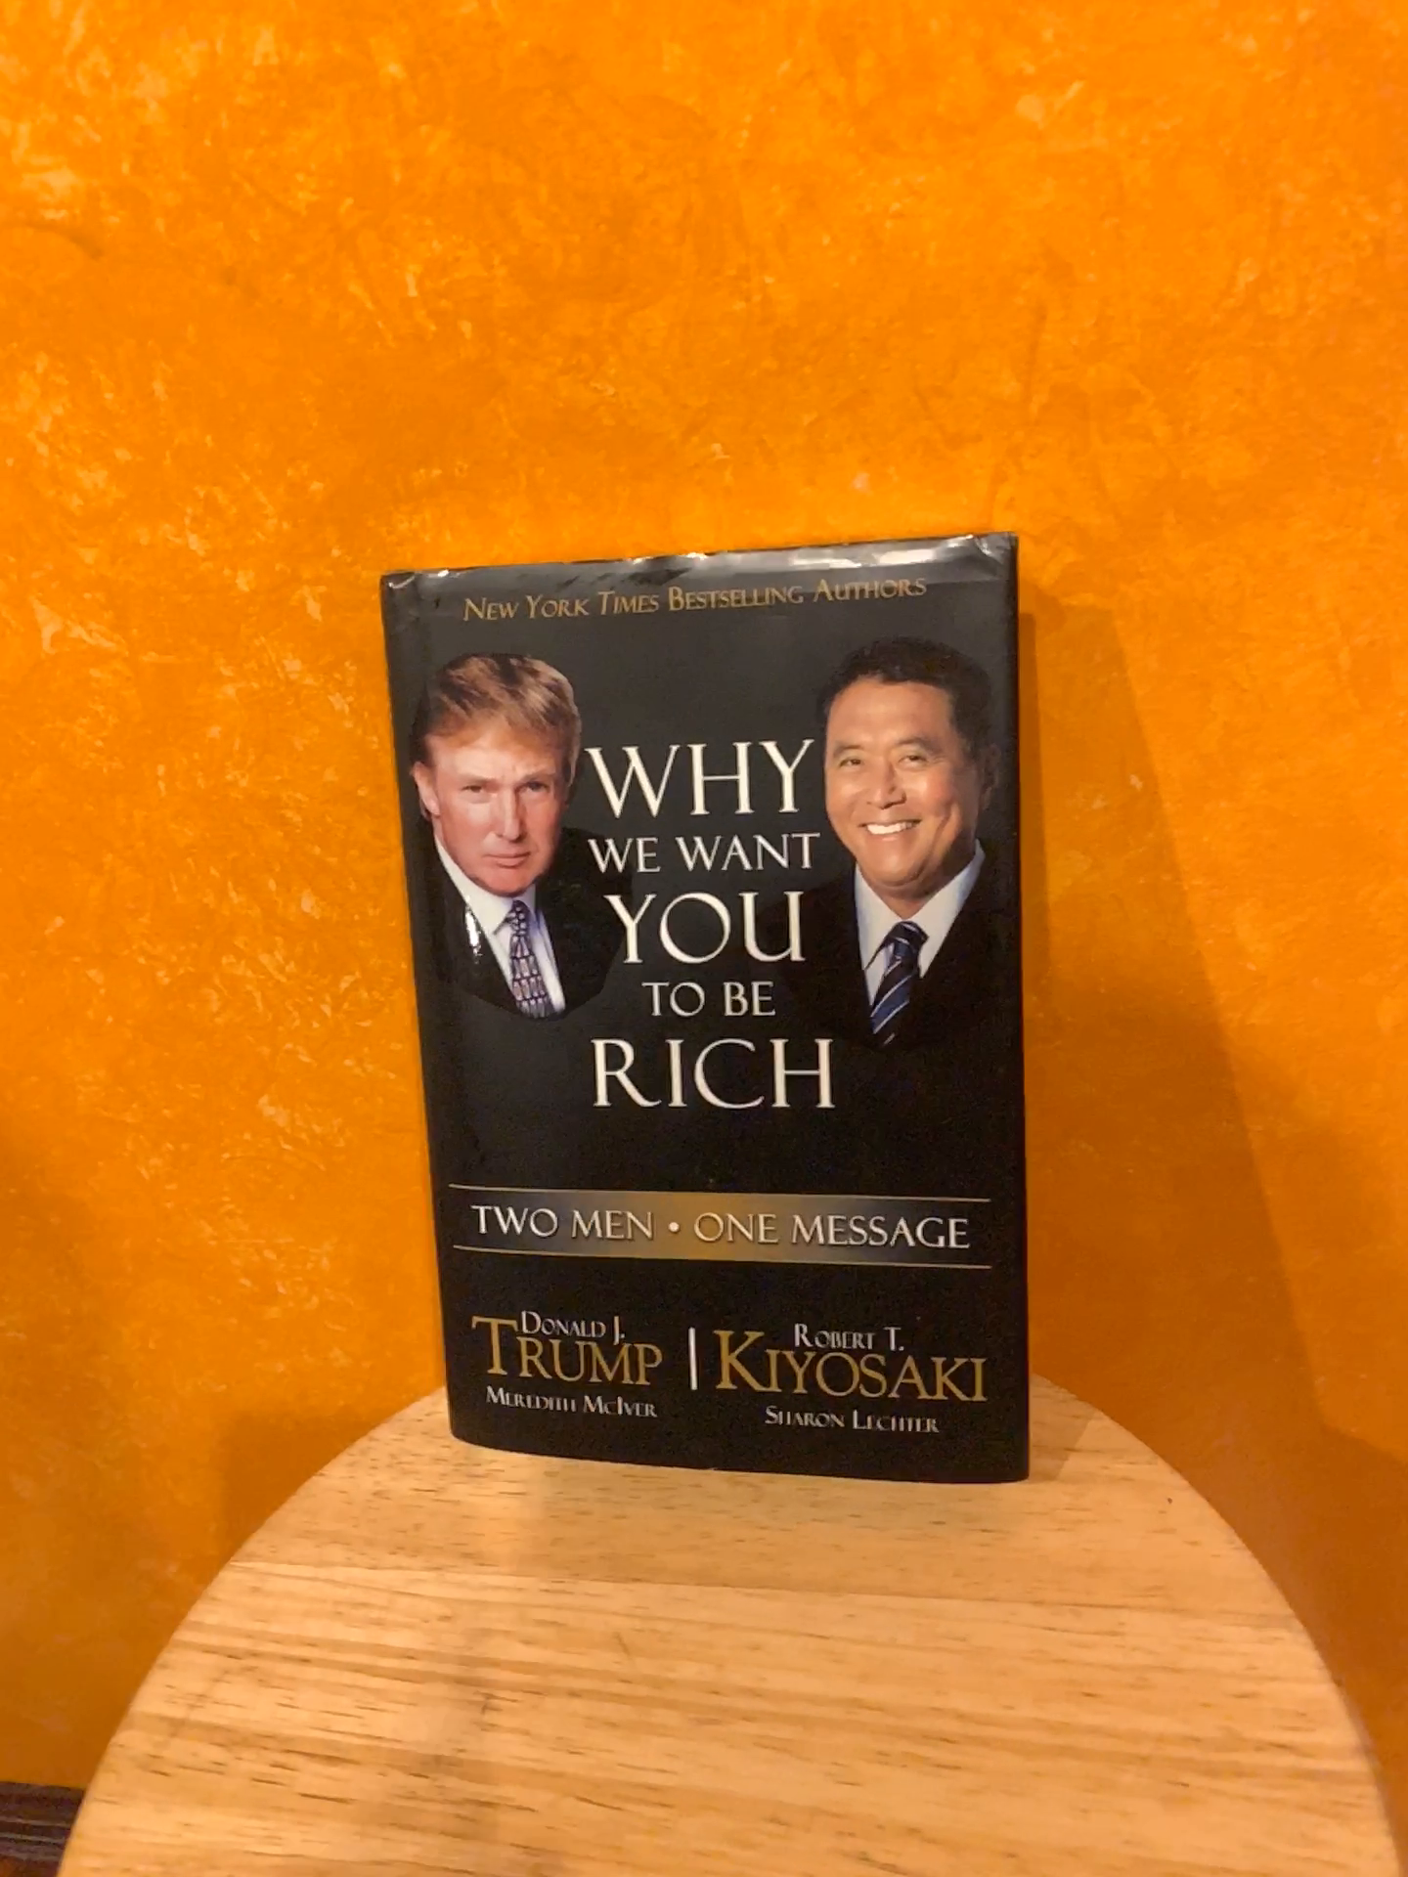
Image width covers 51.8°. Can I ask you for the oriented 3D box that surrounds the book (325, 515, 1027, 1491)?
[{"bbox_3d":[-0.002,0.016,0.344,0.151,0.210,0.044,0,10,13],"label":"book"}]
